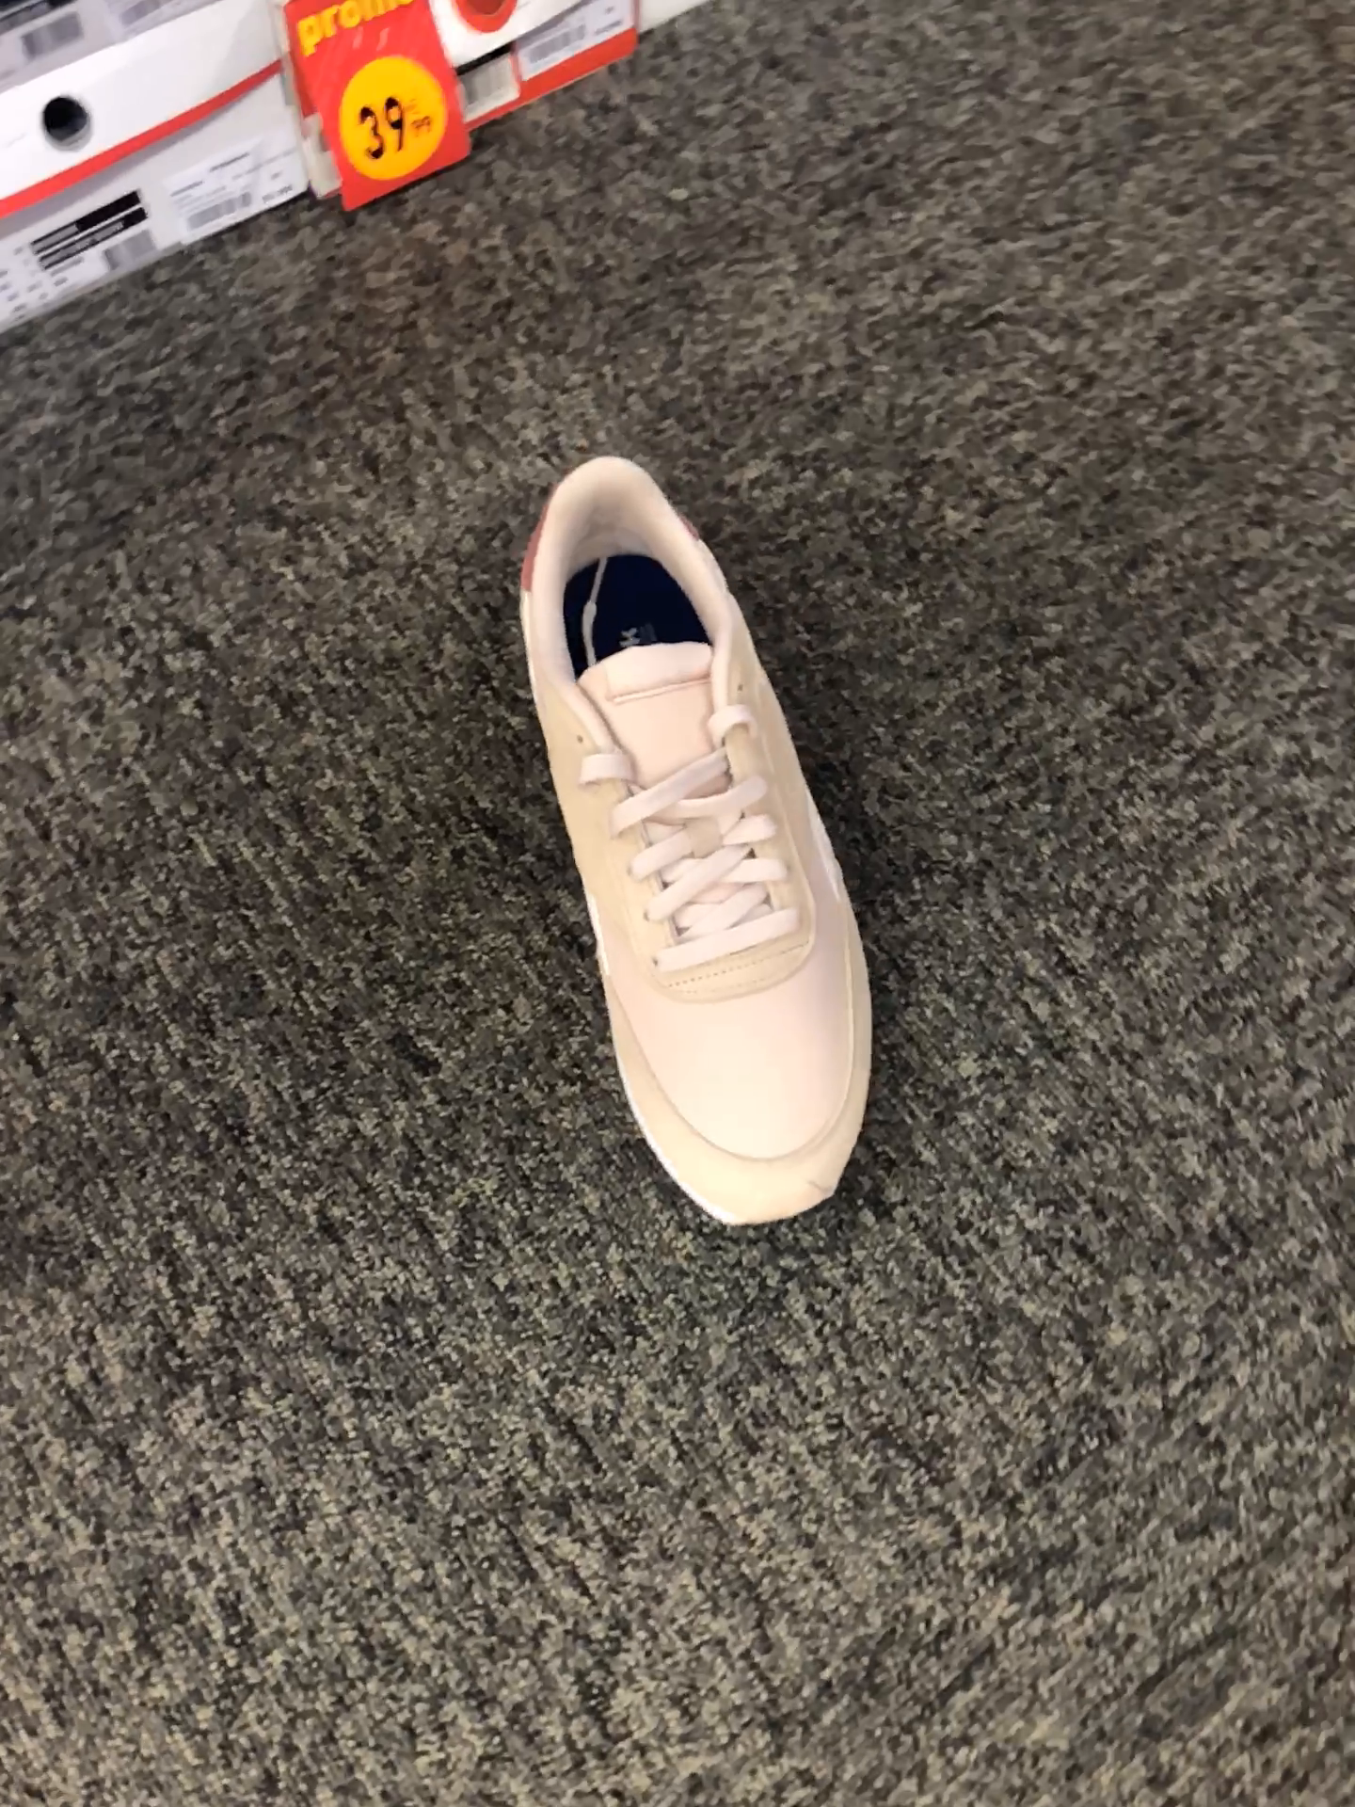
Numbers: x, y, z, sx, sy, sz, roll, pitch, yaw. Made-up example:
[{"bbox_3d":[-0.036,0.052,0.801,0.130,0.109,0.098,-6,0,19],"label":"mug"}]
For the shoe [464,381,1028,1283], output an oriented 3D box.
[{"bbox_3d":[0.011,-0.025,0.507,0.100,0.110,0.270,-14,69,-8],"label":"shoe"}]
